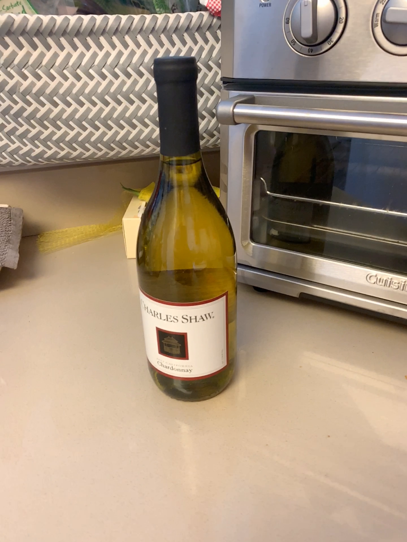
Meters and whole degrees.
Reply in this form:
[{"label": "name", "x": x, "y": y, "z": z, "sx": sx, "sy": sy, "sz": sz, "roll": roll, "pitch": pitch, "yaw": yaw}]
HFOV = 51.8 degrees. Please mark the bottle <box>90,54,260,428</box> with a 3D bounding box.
[{"label": "bottle", "x": -0.012, "y": -0.013, "z": 0.321, "sx": 0.080, "sy": 0.268, "sz": 0.070, "roll": 12, "pitch": 32, "yaw": 24}]
